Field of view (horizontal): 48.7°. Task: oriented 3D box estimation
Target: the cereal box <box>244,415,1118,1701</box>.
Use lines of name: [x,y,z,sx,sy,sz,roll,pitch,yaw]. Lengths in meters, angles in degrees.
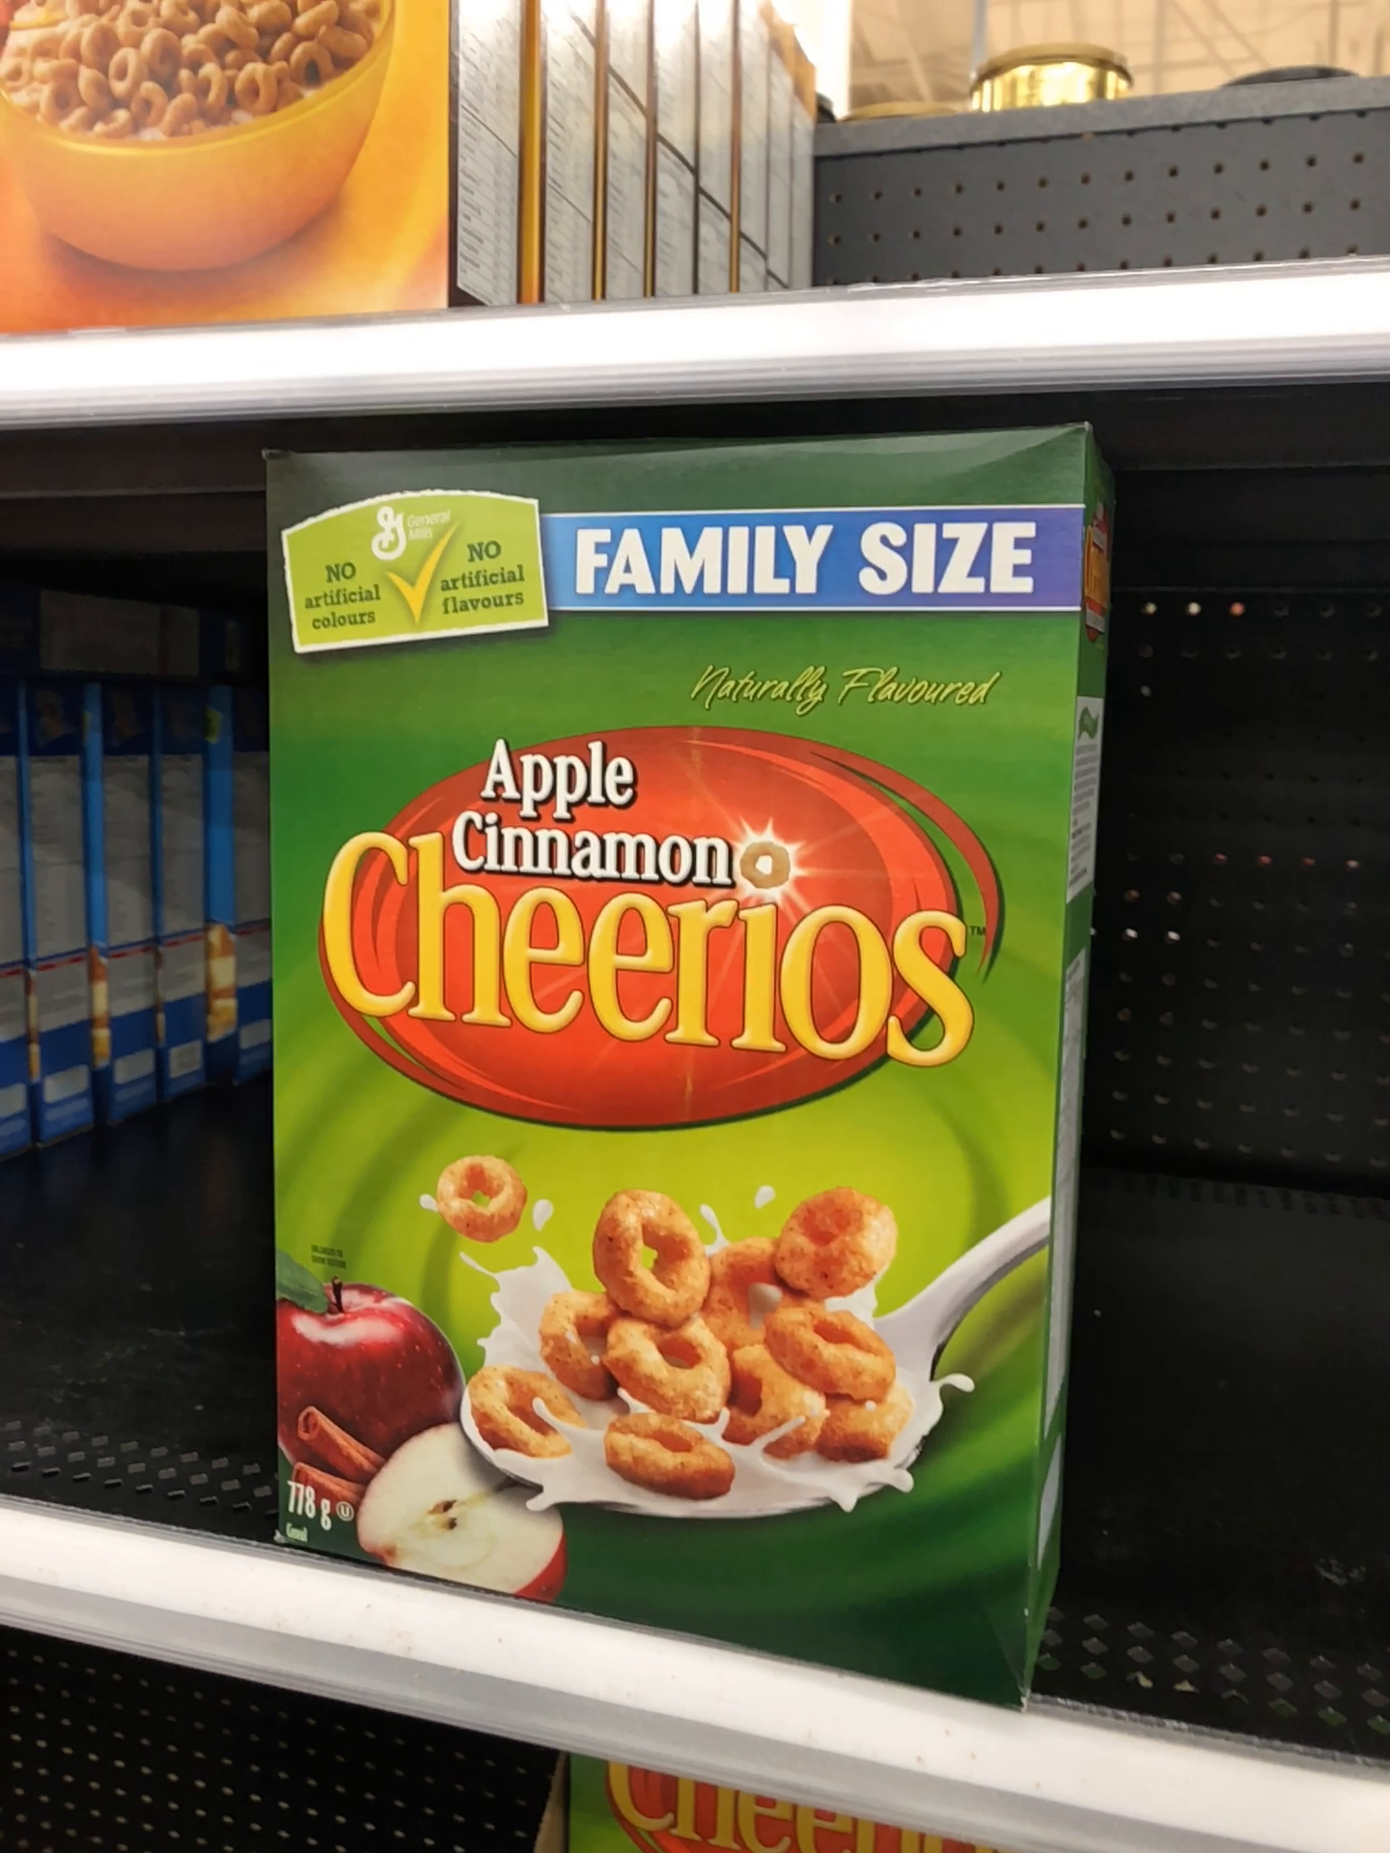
cereal box: [-0.008,0.029,0.462,0.240,0.329,0.080,3,7,18]
